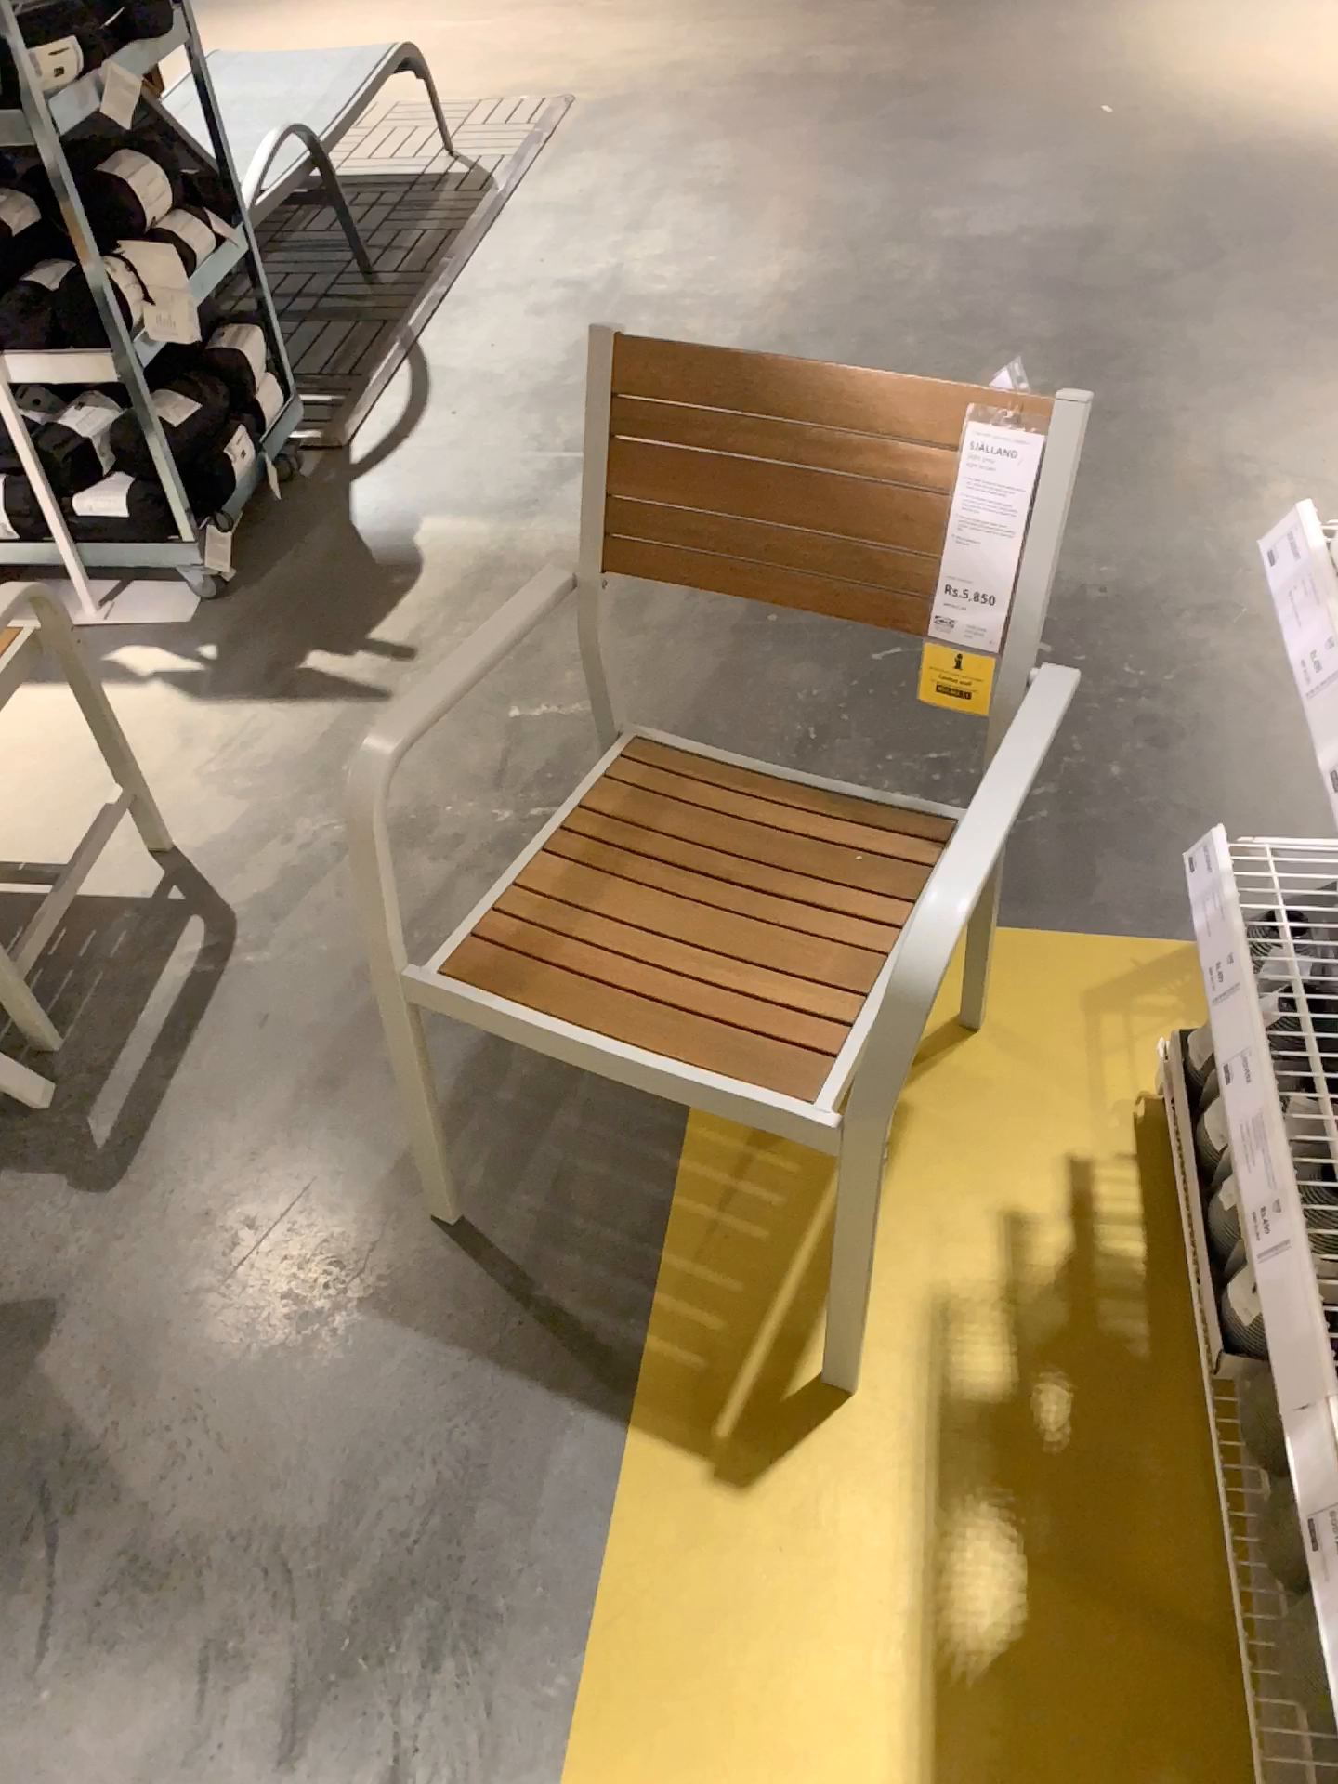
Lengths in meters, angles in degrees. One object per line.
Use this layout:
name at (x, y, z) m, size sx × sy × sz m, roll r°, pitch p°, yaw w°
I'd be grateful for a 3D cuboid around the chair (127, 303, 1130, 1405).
chair at (0.024, -0.047, 1.309) m, size 0.561 × 0.727 × 0.601 m, roll 17°, pitch 50°, yaw 21°
